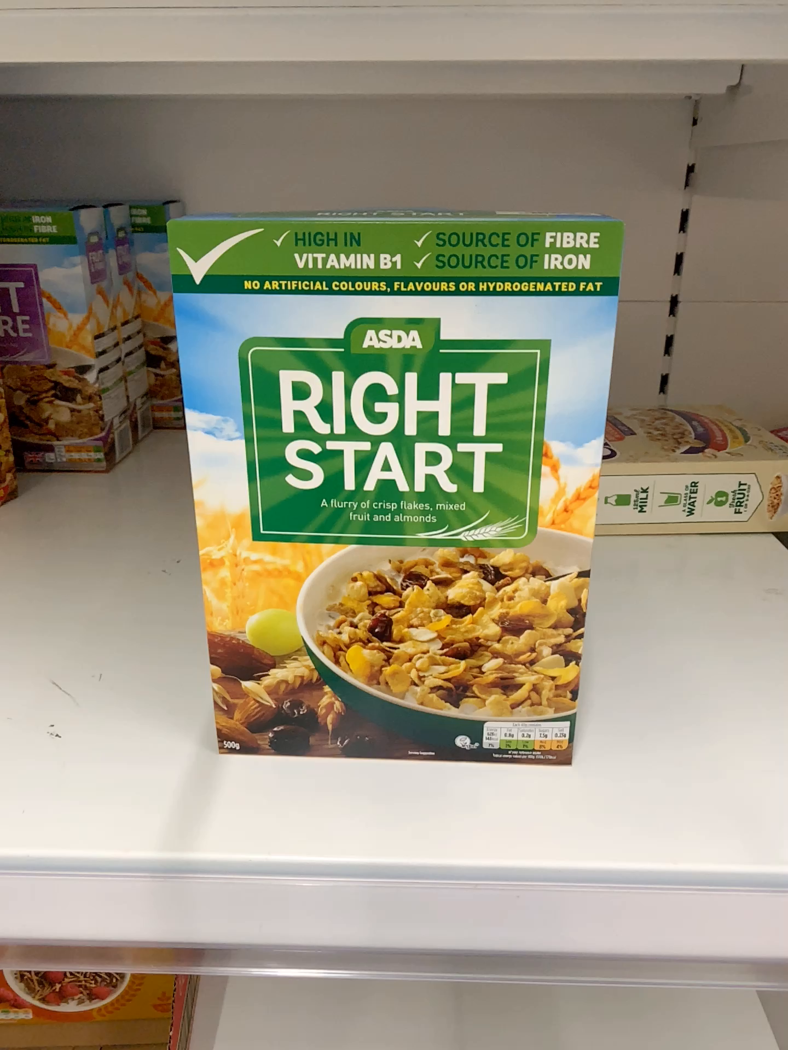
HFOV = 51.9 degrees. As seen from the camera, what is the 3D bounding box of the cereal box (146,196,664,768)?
[{"bbox_3d":[0.005,-0.016,0.397,0.200,0.268,0.071,1,23,3],"label":"cereal box"}]
